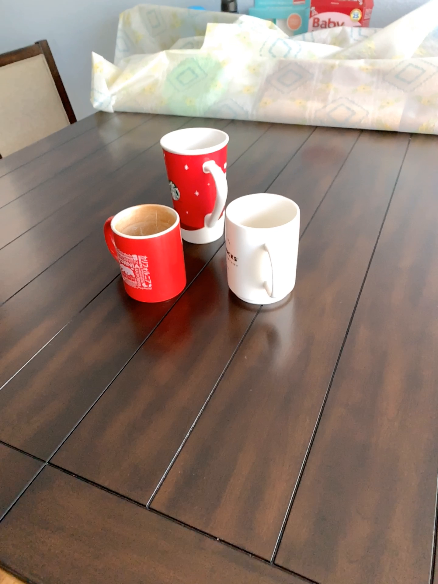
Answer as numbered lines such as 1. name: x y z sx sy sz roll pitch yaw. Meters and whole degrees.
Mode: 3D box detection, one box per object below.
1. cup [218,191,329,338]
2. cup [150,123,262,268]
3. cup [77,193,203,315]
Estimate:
1. cup: 0.059 -0.037 0.553 0.100 0.109 0.141 -6 39 -3
2. cup: -0.019 -0.142 0.646 0.100 0.139 0.141 -19 41 -18
3. cup: -0.098 -0.052 0.577 0.120 0.090 0.090 27 48 33
